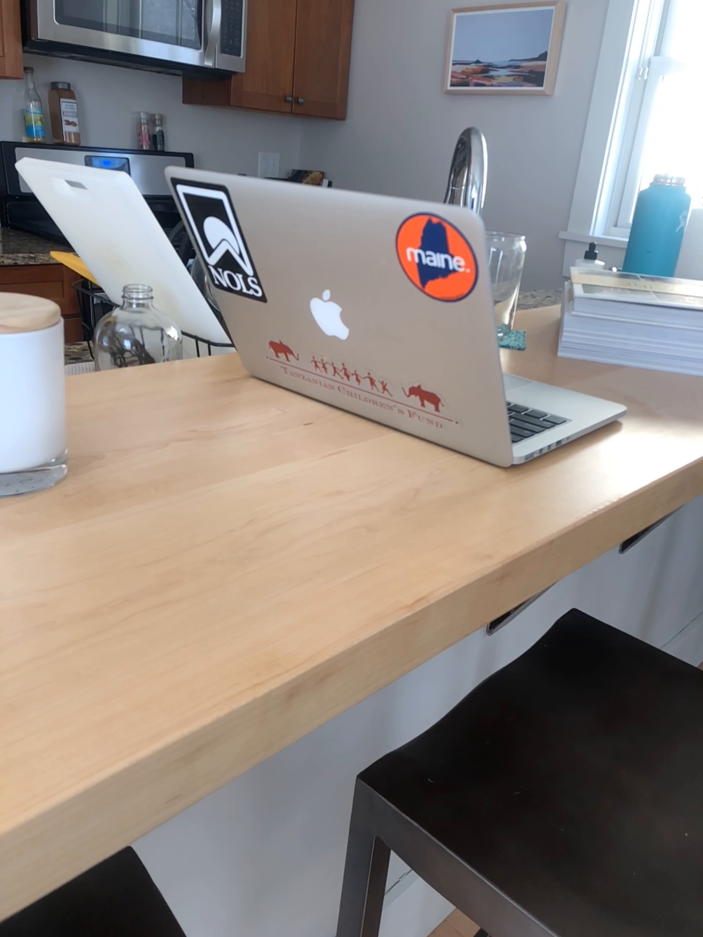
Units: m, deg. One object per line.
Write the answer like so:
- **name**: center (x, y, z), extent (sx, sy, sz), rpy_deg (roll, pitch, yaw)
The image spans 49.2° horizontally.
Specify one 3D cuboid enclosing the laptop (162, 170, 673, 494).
- **laptop**: center (0.058, -0.159, 0.718), extent (0.322, 0.188, 0.324), rpy_deg (23, 29, 36)
